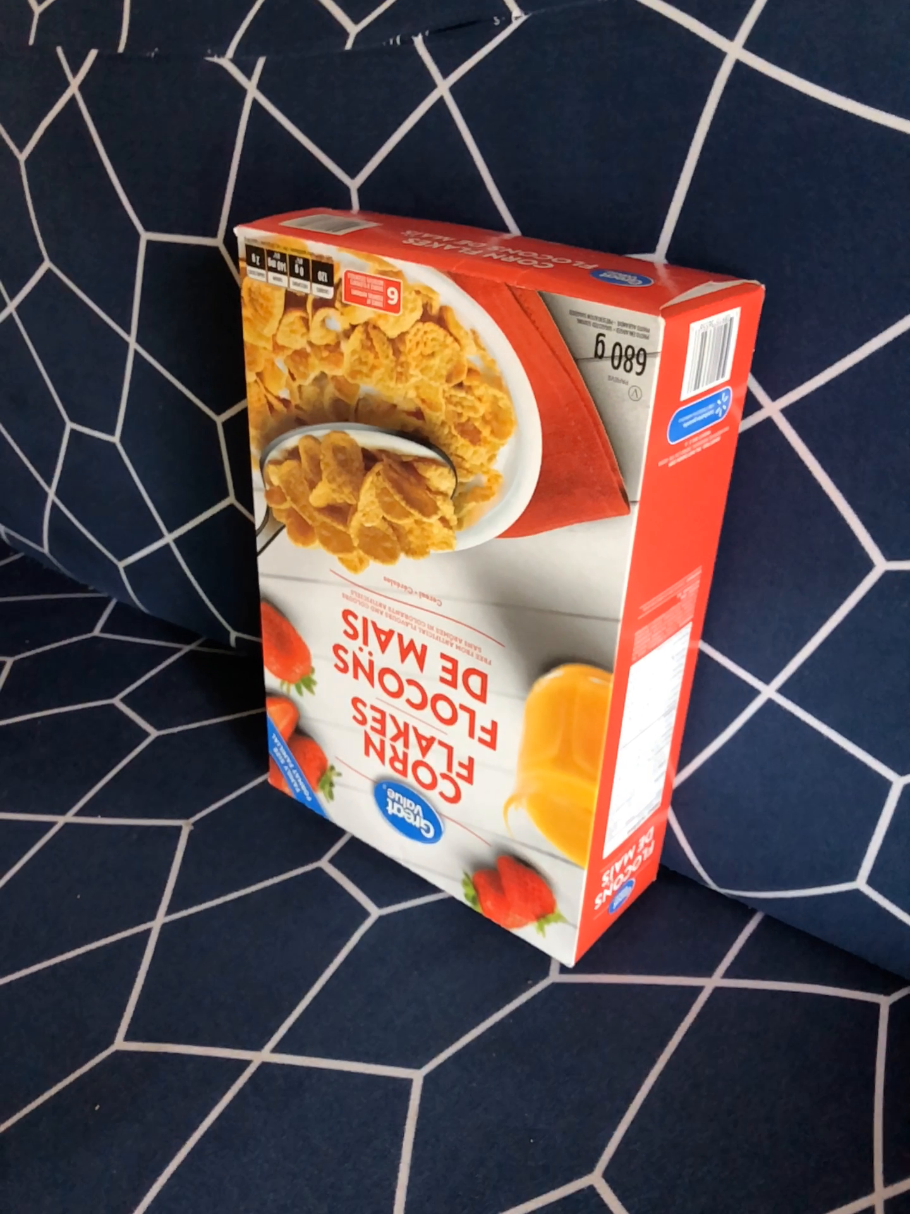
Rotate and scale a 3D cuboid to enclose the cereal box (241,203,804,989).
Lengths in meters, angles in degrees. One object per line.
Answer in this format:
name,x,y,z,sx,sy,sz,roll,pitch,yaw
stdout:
cereal box,0.013,-0.014,0.495,0.221,0.318,0.100,23,33,33
